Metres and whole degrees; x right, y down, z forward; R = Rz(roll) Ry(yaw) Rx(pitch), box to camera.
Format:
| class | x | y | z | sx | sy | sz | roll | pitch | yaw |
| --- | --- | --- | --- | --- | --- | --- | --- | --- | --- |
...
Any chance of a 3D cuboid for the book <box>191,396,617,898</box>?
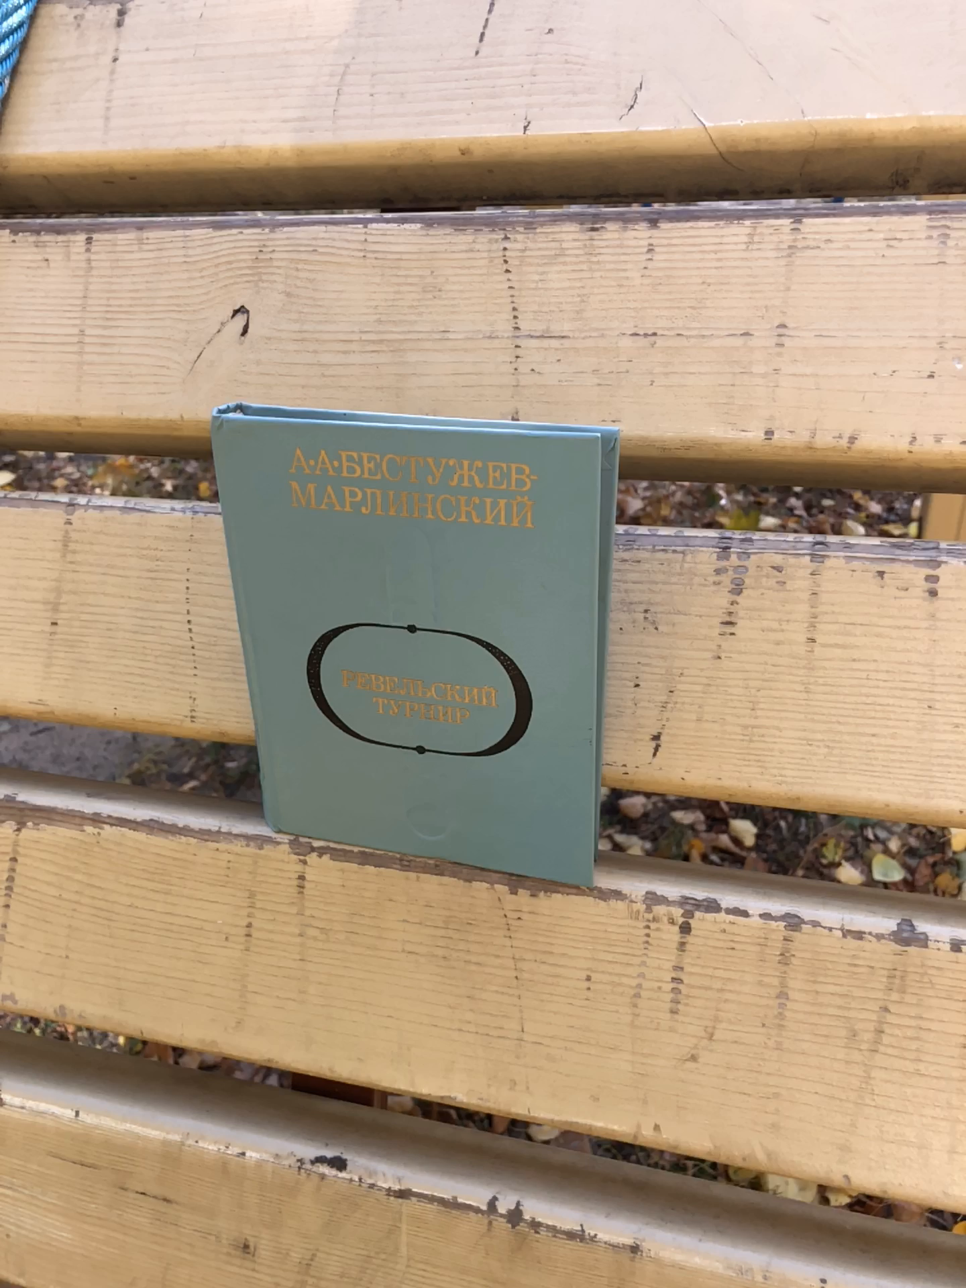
| class | x | y | z | sx | sy | sz | roll | pitch | yaw |
| --- | --- | --- | --- | --- | --- | --- | --- | --- | --- |
| book | -0.024 | 0.002 | 0.379 | 0.140 | 0.169 | 0.022 | 7 | 28 | 21 |
